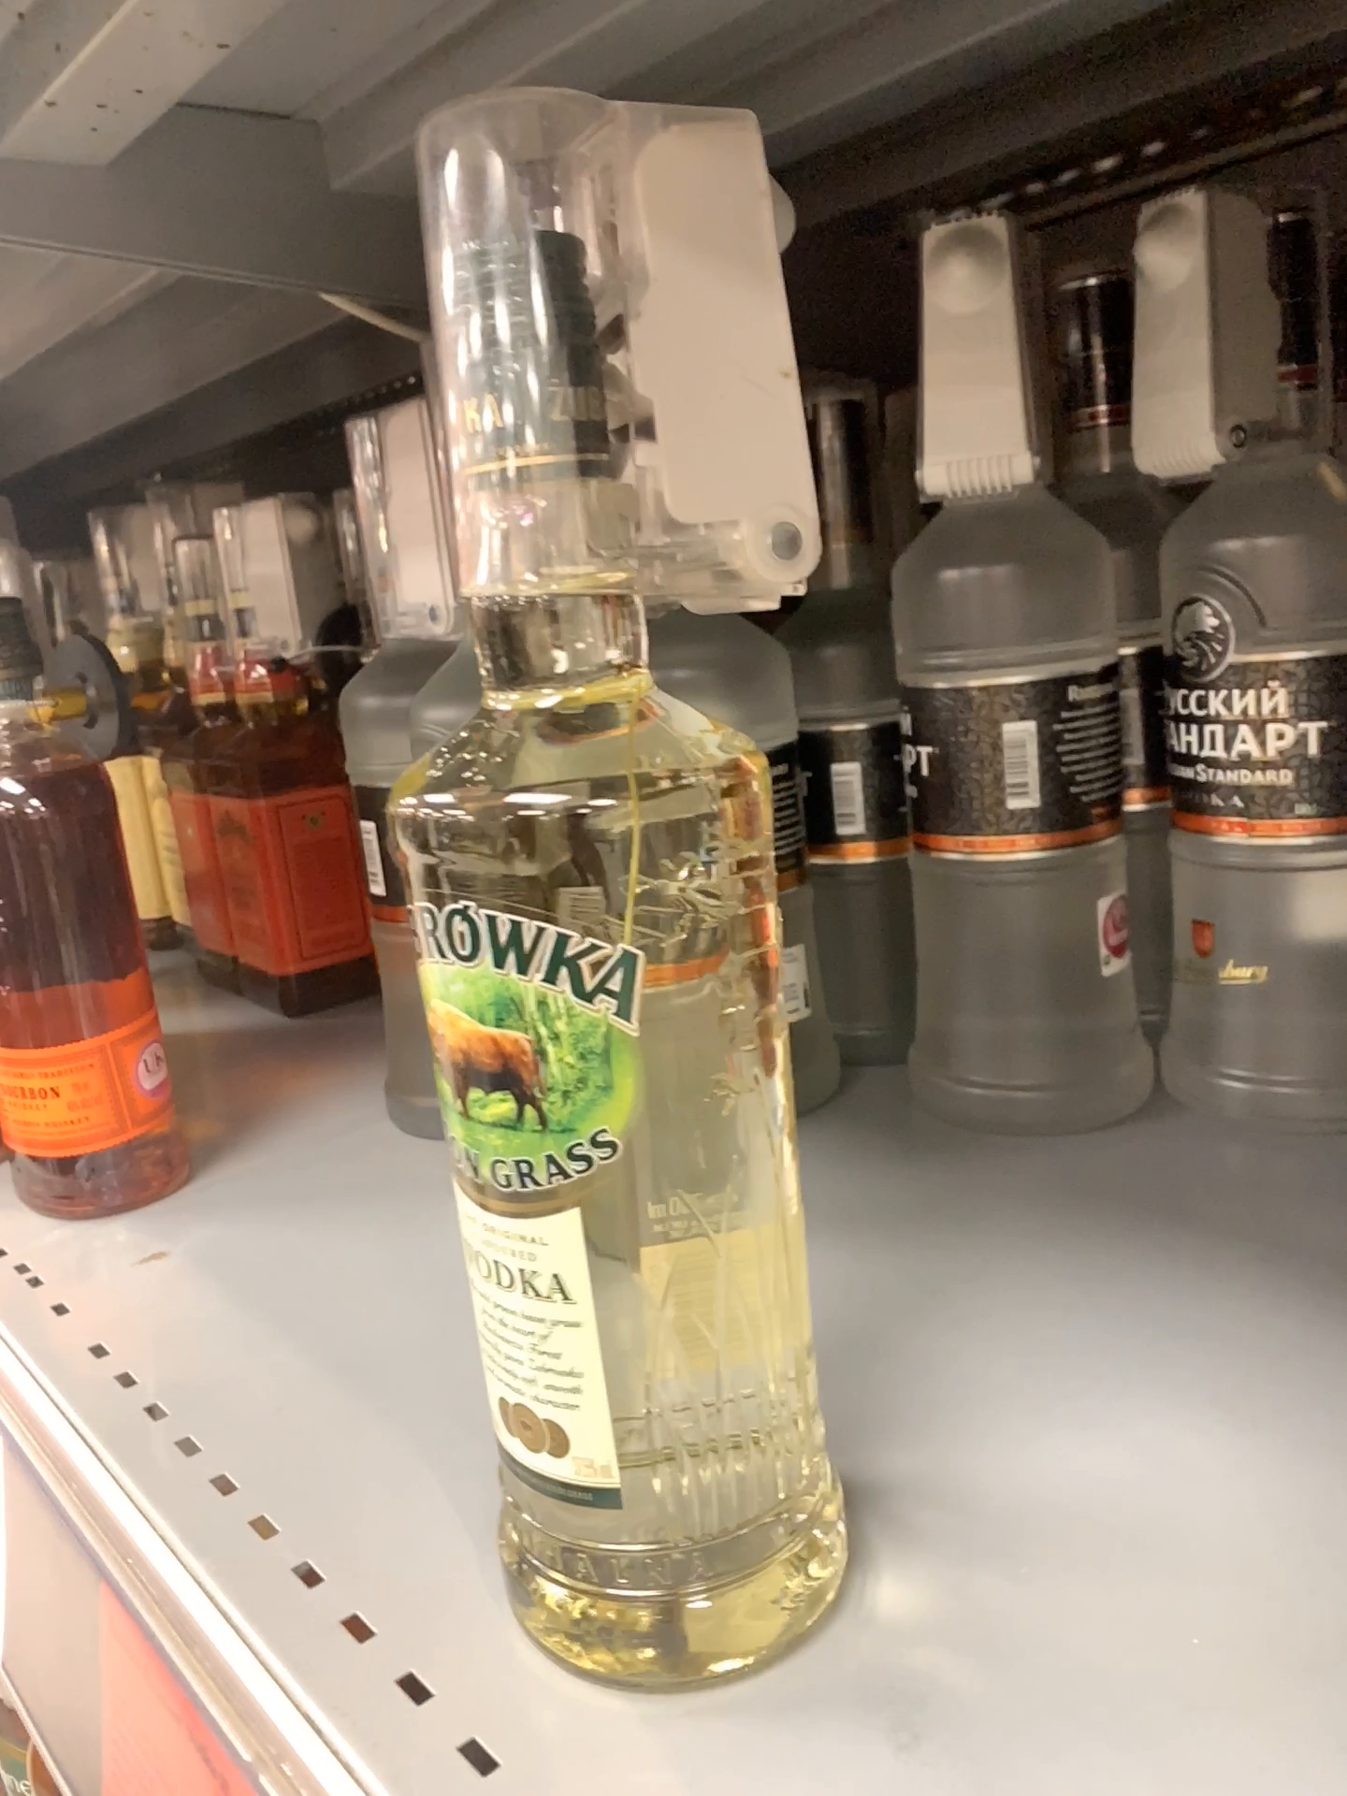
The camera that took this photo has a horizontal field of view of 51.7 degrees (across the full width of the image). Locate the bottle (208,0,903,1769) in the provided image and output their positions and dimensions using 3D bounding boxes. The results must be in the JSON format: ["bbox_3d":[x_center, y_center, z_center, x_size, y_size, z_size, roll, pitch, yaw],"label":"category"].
[{"bbox_3d":[-0.018,0.000,0.275,0.069,0.303,0.076,-16,14,-39],"label":"bottle"}]
